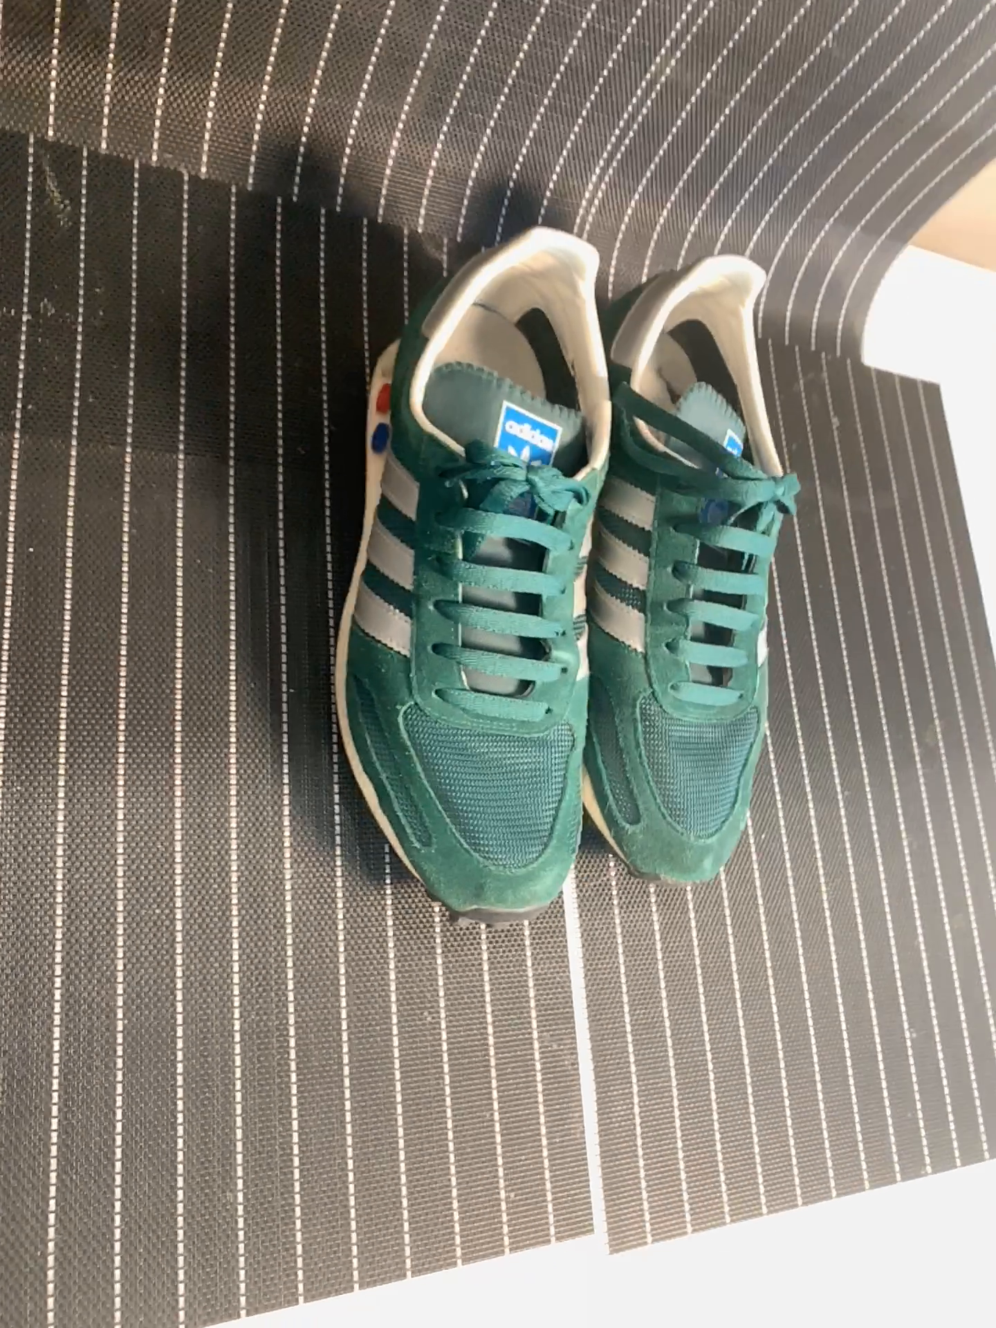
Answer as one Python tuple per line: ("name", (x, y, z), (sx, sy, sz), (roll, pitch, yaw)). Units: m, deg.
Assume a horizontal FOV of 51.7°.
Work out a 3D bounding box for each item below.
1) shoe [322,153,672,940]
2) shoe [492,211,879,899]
("shoe", (-0.010, -0.041, 0.417), (0.100, 0.090, 0.290), (5, 73, -26))
("shoe", (0.074, -0.039, 0.476), (0.100, 0.120, 0.280), (5, 73, -26))
